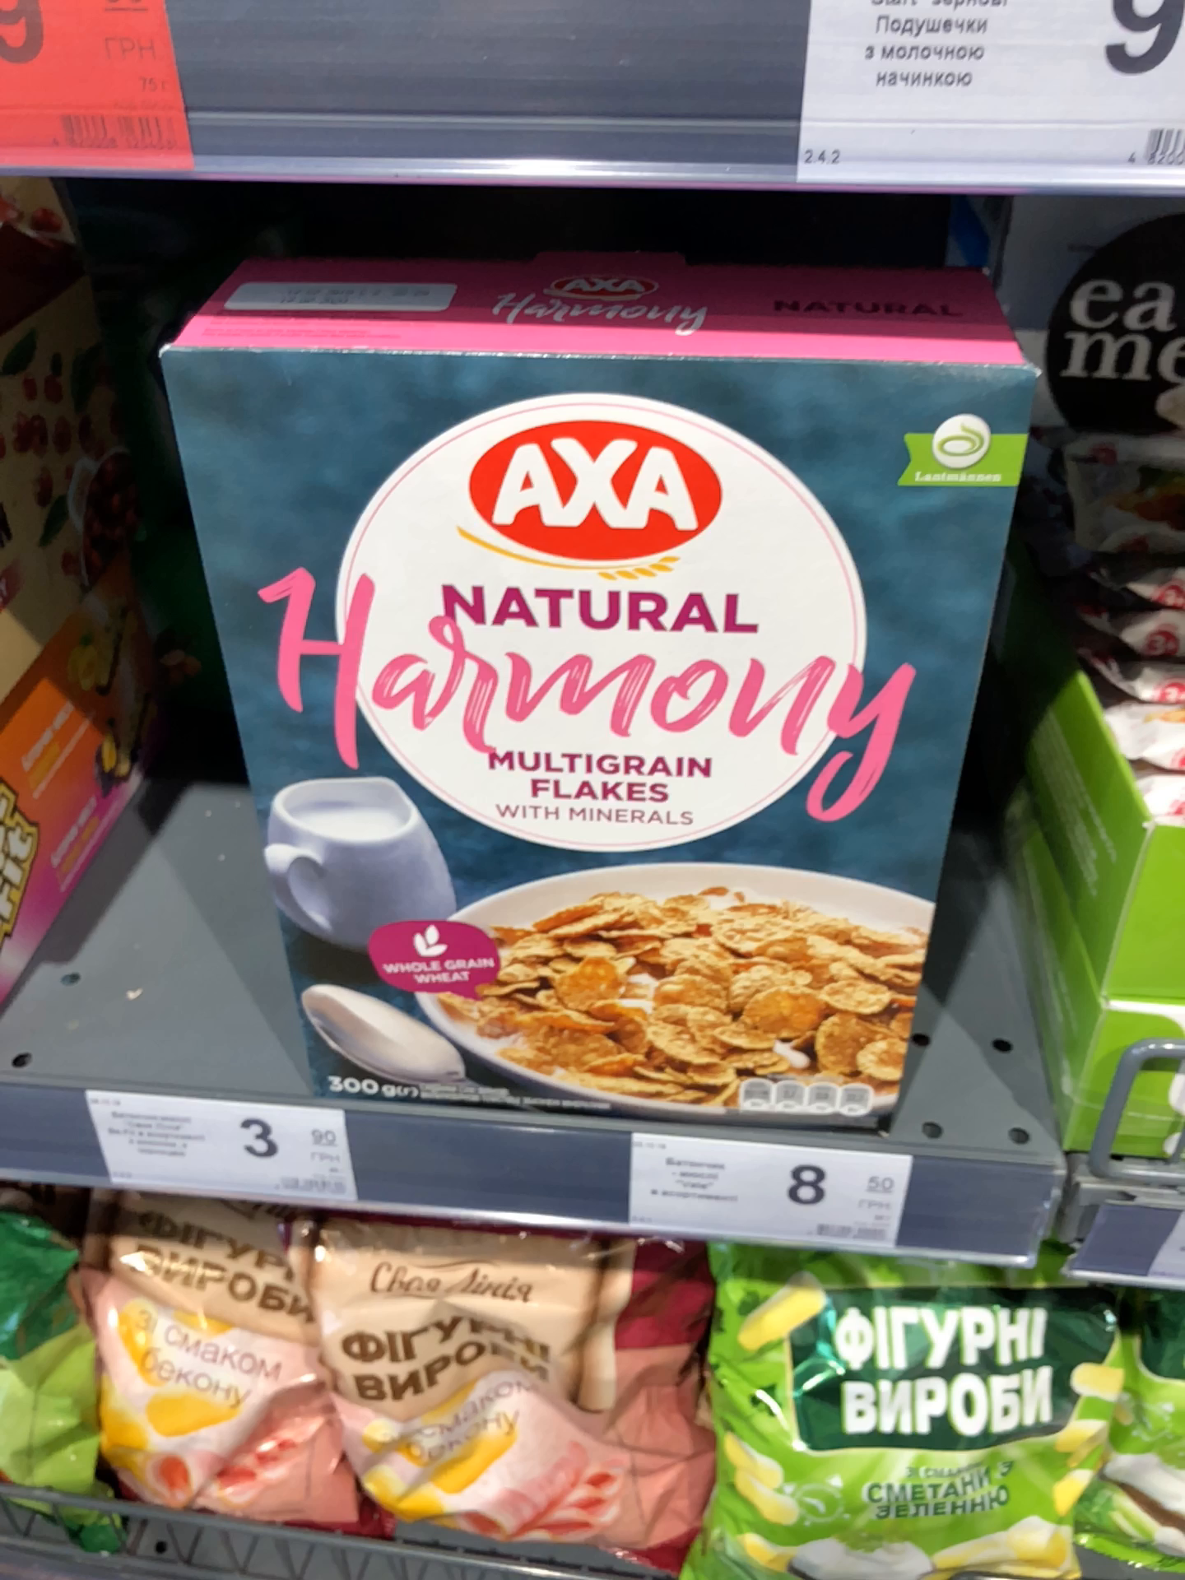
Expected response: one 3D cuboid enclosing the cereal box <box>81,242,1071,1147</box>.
[{"bbox_3d":[-0.001,-0.013,0.334,0.180,0.218,0.071,2,38,5],"label":"cereal box"}]
